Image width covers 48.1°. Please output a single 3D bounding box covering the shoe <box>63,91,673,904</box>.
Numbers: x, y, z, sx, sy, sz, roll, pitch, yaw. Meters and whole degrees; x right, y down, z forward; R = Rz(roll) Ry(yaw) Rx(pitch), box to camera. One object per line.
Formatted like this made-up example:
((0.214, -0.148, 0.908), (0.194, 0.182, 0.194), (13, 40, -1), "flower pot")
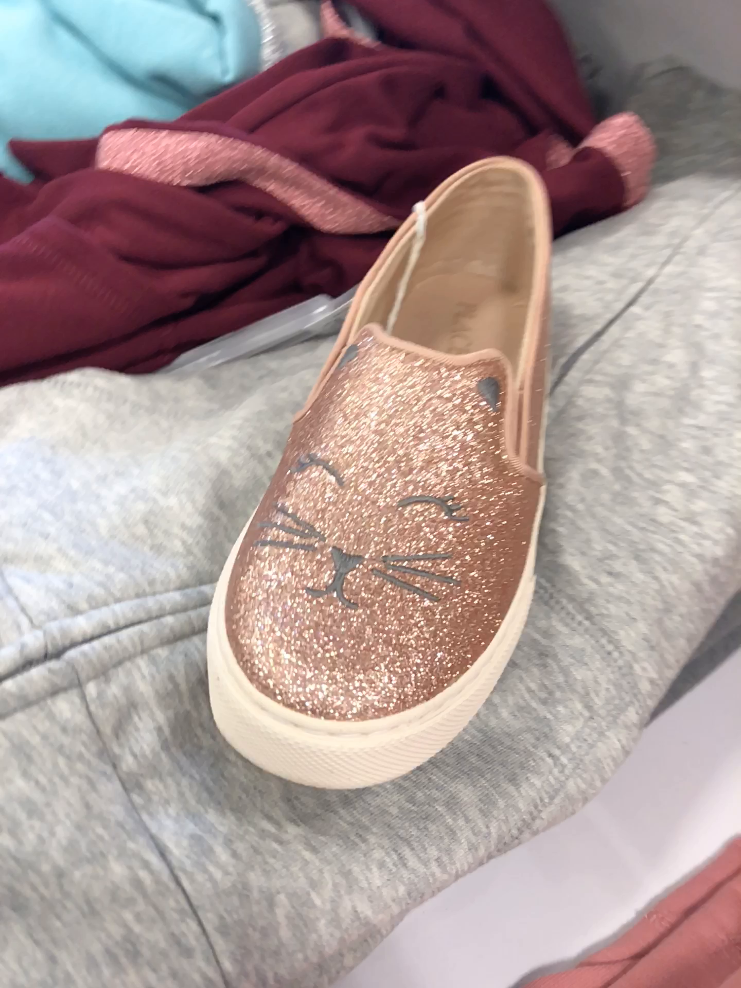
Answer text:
((0.017, -0.020, 0.241), (0.090, 0.080, 0.221), (20, 50, 5), "shoe")
